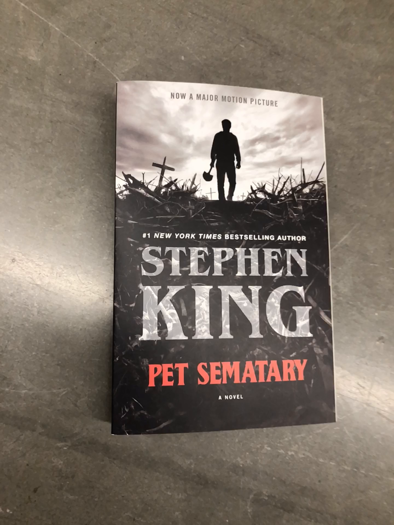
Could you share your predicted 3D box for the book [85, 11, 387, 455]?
[{"bbox_3d":[0.023,-0.013,0.256,0.160,0.050,0.220,2,88,-12],"label":"book"}]
